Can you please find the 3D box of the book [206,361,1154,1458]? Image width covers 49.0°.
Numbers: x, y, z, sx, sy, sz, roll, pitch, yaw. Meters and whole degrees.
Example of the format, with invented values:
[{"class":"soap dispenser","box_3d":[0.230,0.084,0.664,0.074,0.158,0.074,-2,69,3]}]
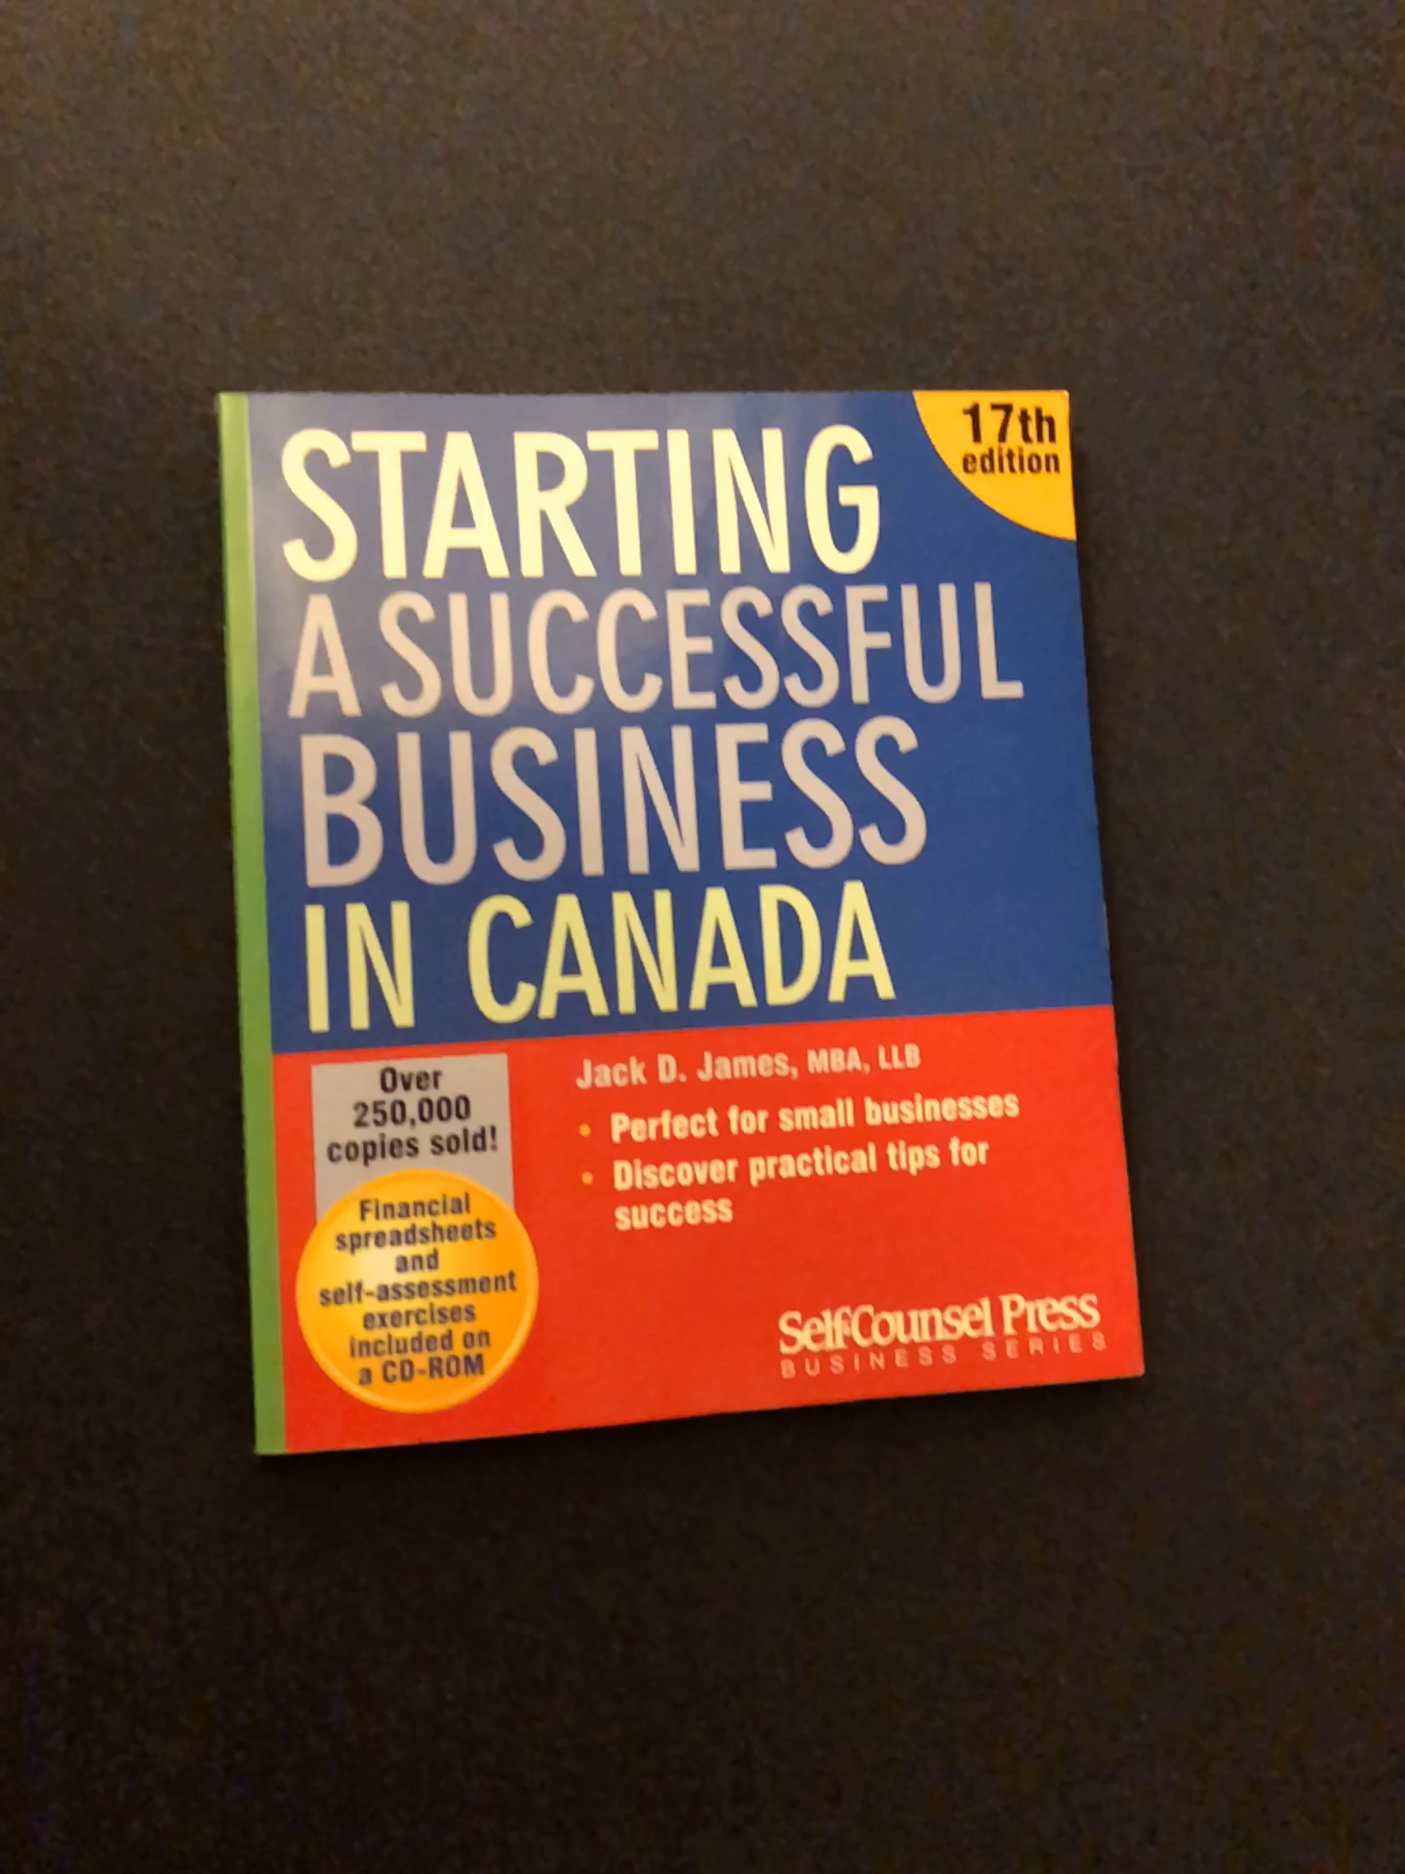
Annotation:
[{"class":"book","box_3d":[-0.007,-0.012,0.378,0.210,0.040,0.247,-2,84,-8]}]
